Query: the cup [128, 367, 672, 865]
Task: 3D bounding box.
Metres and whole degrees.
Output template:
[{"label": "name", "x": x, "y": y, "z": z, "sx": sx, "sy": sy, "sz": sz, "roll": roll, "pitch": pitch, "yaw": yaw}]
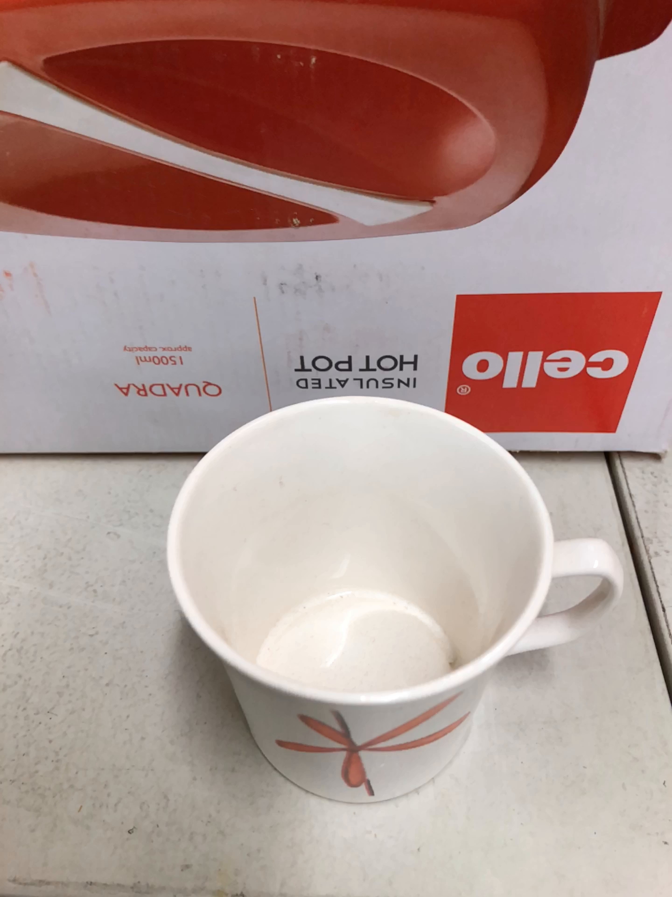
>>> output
[{"label": "cup", "x": 0.015, "y": 0.036, "z": 0.167, "sx": 0.100, "sy": 0.070, "sz": 0.070, "roll": -6, "pitch": 46, "yaw": -4}]
